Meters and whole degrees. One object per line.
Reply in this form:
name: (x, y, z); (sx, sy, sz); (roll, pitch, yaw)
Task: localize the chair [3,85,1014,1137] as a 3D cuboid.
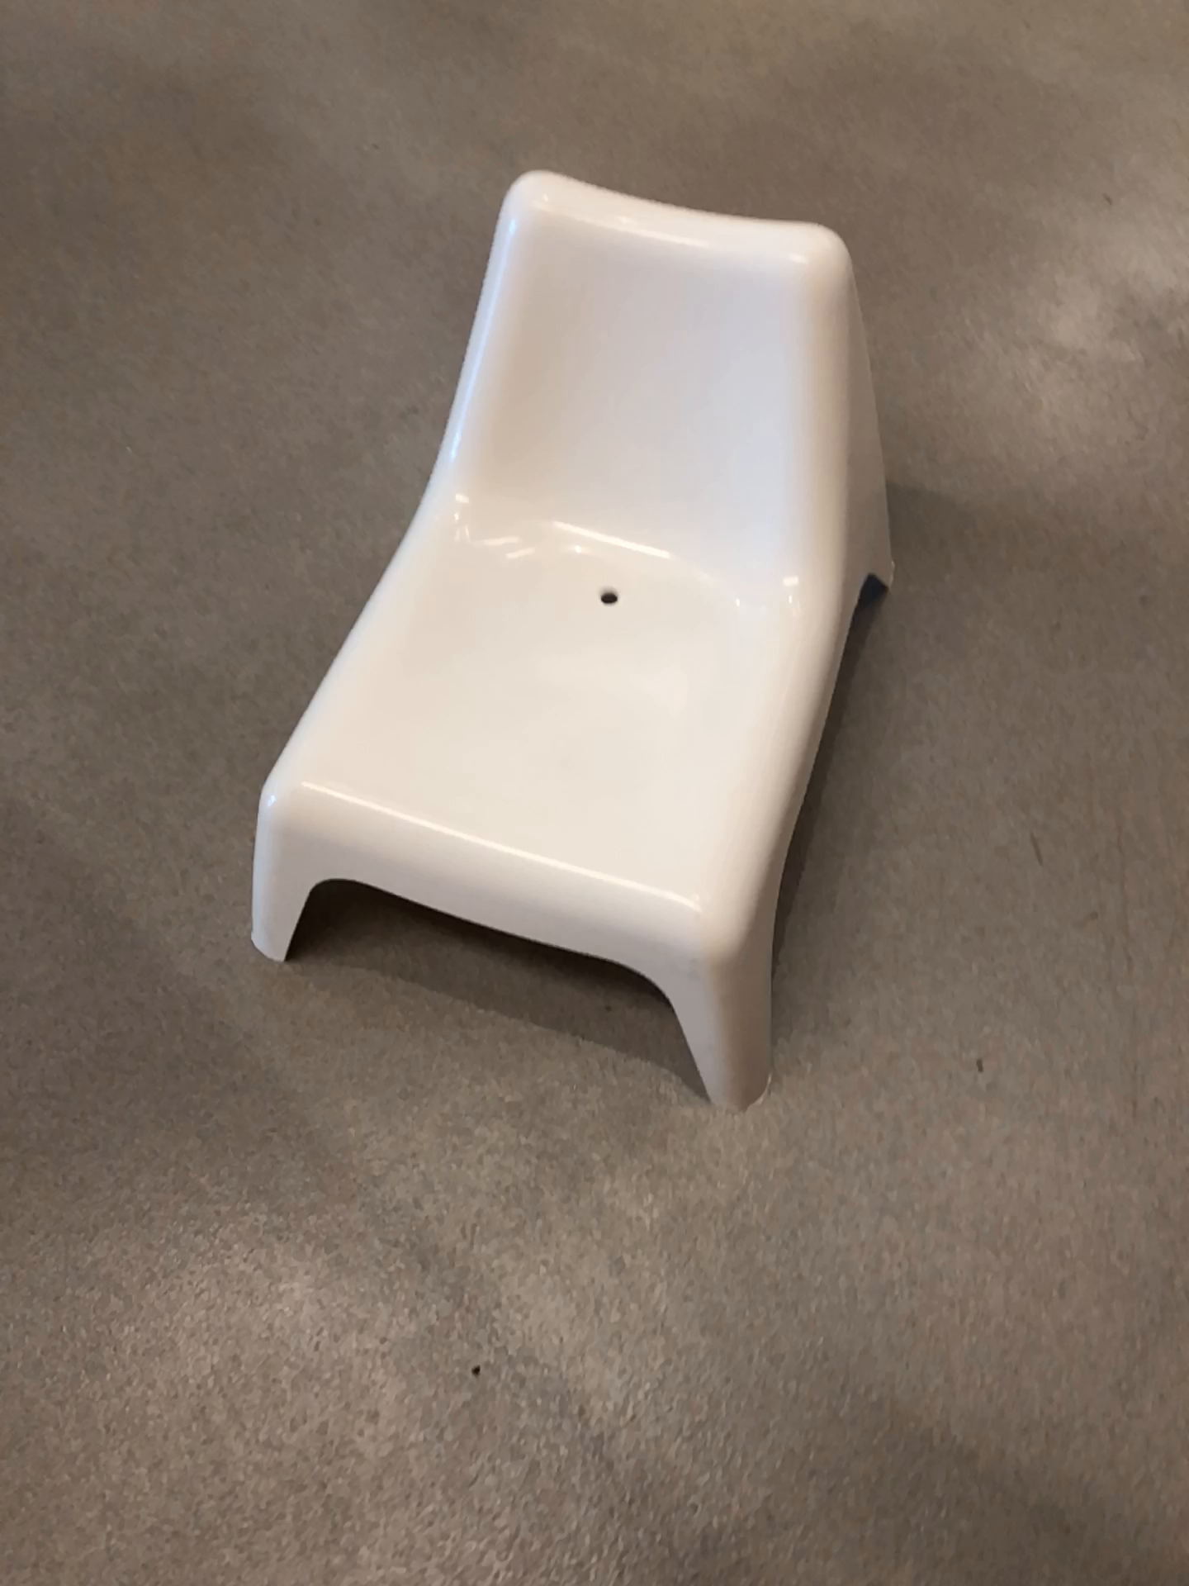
chair: (-0.015, -0.163, 1.120); (0.530, 0.400, 0.690); (15, 64, 10)
